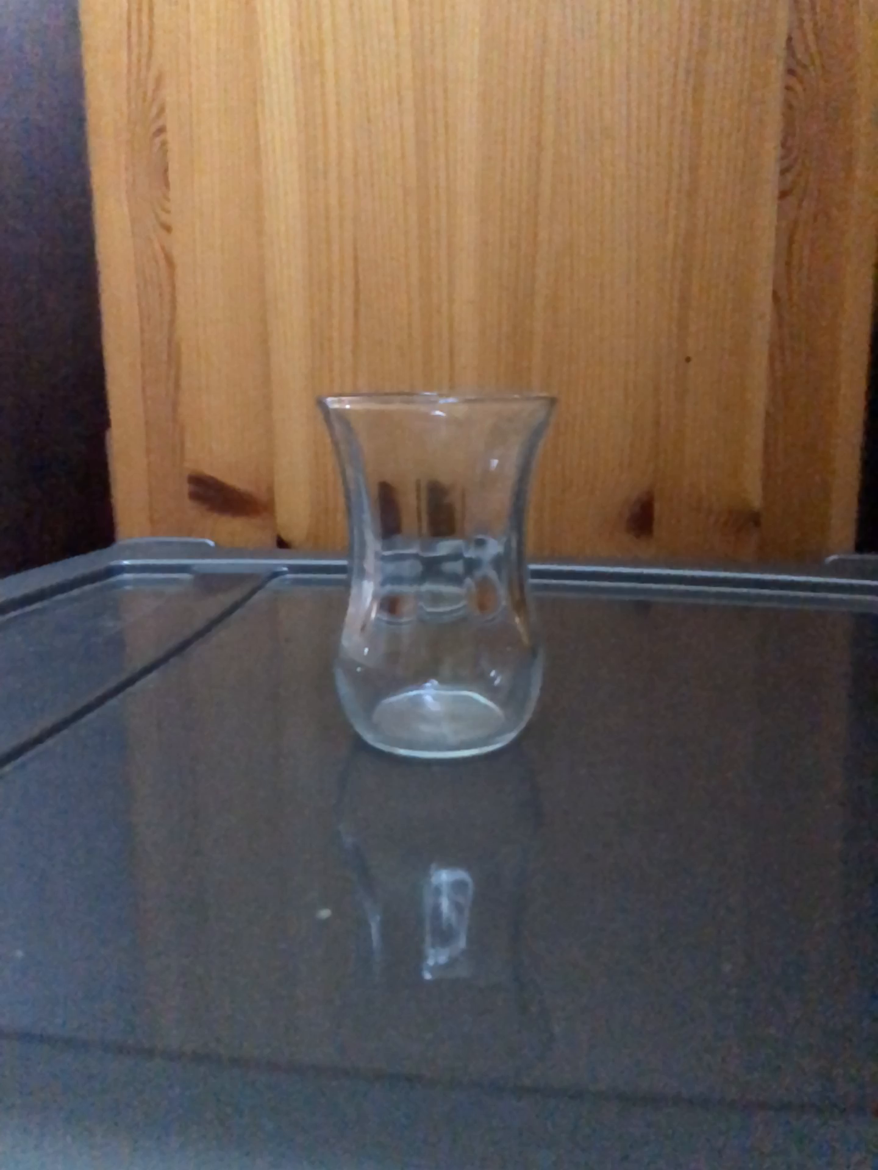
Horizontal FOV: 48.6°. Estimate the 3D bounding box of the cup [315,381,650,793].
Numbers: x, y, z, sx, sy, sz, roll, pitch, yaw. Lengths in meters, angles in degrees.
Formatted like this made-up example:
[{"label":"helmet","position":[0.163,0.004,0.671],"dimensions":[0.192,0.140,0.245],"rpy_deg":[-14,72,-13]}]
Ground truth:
[{"label":"cup","position":[0.006,-0.005,0.223],"dimensions":[0.060,0.080,0.060],"rpy_deg":[0,13,0]}]
